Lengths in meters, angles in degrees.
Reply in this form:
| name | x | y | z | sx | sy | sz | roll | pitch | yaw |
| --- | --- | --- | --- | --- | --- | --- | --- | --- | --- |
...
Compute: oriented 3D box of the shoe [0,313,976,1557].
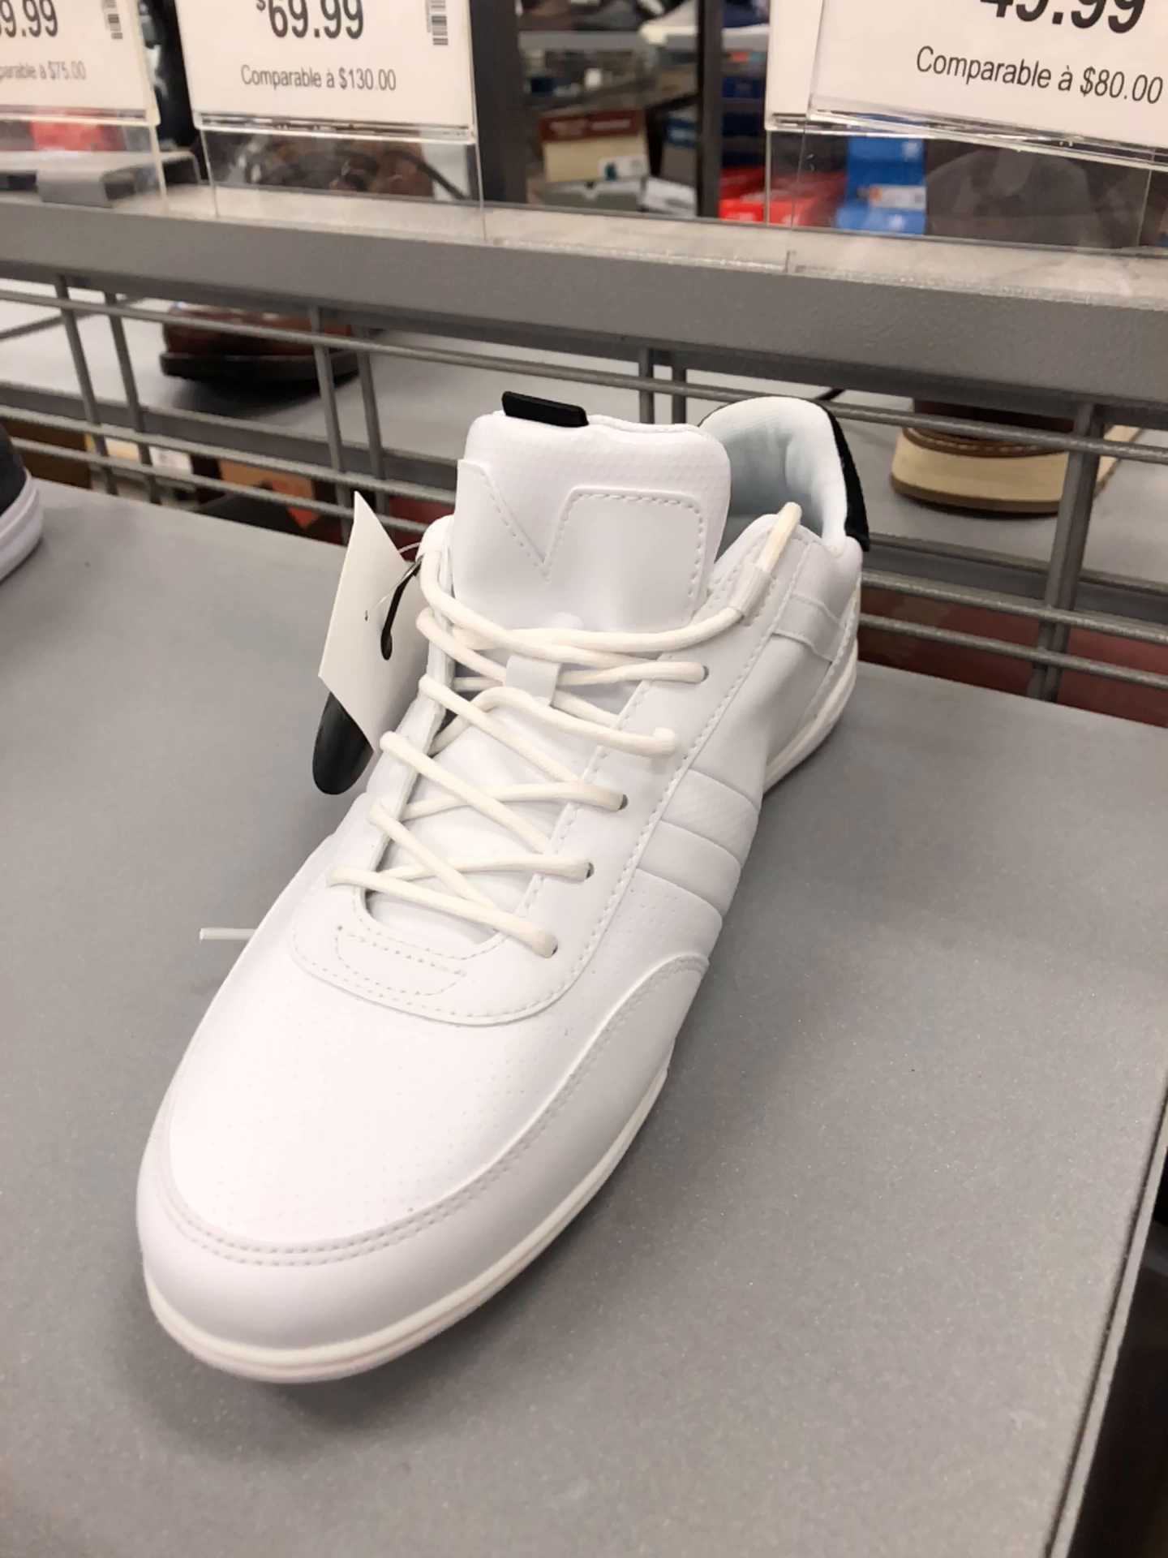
| name | x | y | z | sx | sy | sz | roll | pitch | yaw |
| --- | --- | --- | --- | --- | --- | --- | --- | --- | --- |
| shoe | -0.002 | -0.006 | 0.290 | 0.110 | 0.119 | 0.272 | 13 | 36 | 22 |
